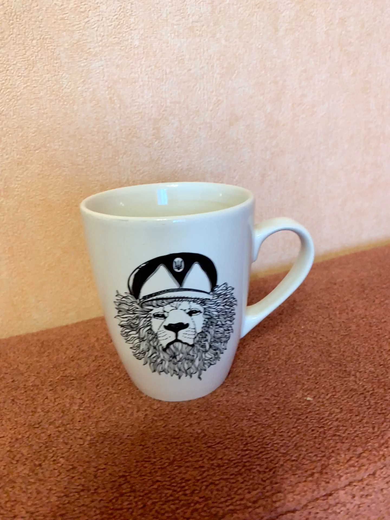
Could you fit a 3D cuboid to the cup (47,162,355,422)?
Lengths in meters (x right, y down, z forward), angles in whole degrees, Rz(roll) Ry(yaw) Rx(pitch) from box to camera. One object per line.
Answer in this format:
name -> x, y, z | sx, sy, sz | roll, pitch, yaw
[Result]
cup -> 0.001, 0.007, 0.232 | 0.125, 0.095, 0.106 | -7, 23, -5
